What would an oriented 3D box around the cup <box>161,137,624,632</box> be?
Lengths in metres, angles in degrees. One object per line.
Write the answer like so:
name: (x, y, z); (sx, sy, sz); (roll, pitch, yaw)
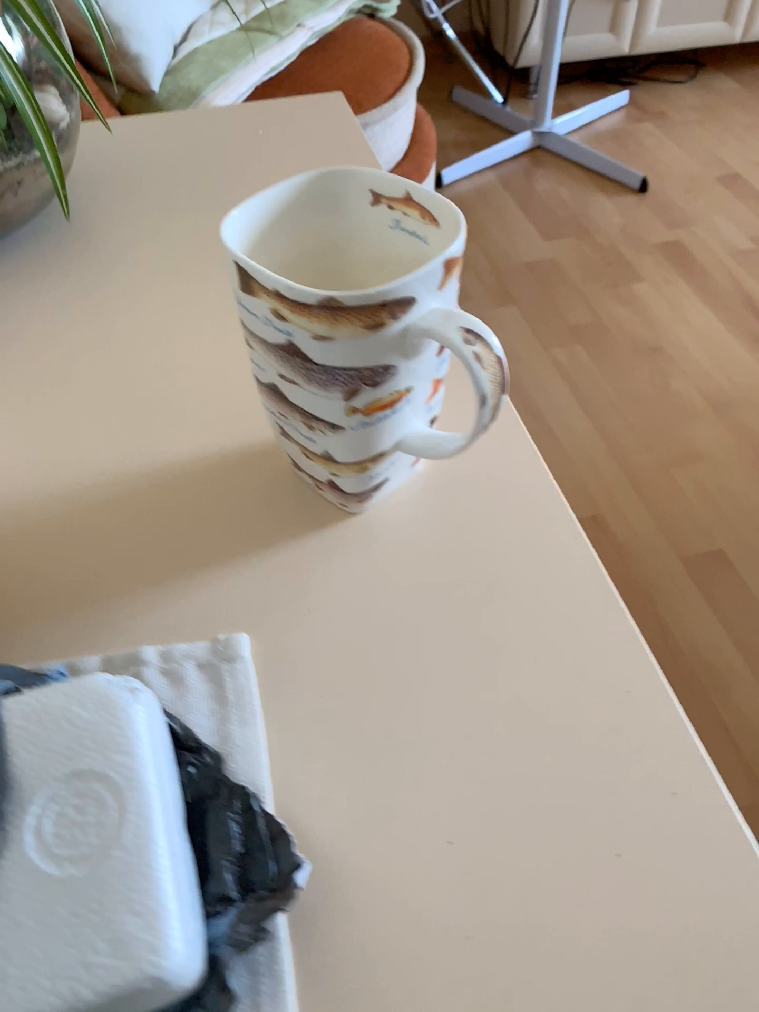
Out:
cup: (0.002, -0.055, 0.334); (0.100, 0.129, 0.141); (-36, 57, -26)
